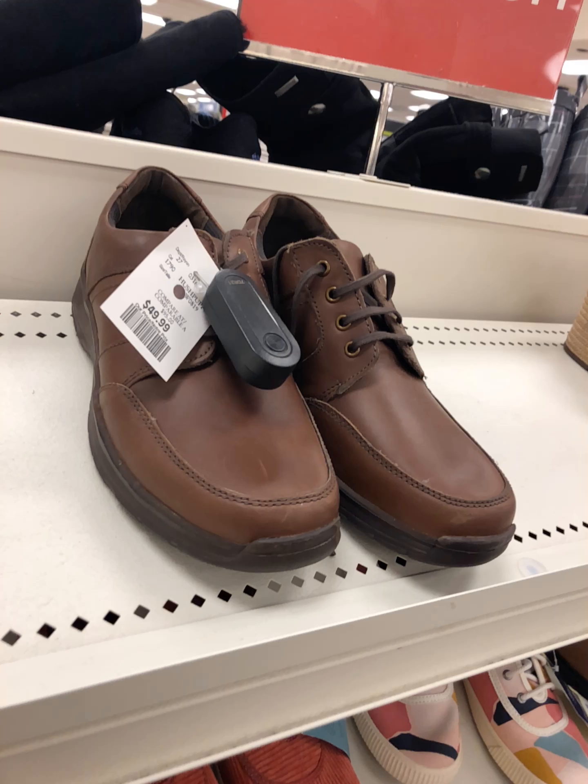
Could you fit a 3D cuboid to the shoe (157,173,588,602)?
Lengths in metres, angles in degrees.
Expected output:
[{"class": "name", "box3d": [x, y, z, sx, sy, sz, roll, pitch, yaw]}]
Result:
[{"class": "shoe", "box3d": [0.037, -0.041, 0.408, 0.120, 0.109, 0.342, -3, 28, -33]}]

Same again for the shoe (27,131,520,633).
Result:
[{"class": "shoe", "box3d": [-0.055, -0.046, 0.360, 0.120, 0.109, 0.332, -2, 30, -31]}]
